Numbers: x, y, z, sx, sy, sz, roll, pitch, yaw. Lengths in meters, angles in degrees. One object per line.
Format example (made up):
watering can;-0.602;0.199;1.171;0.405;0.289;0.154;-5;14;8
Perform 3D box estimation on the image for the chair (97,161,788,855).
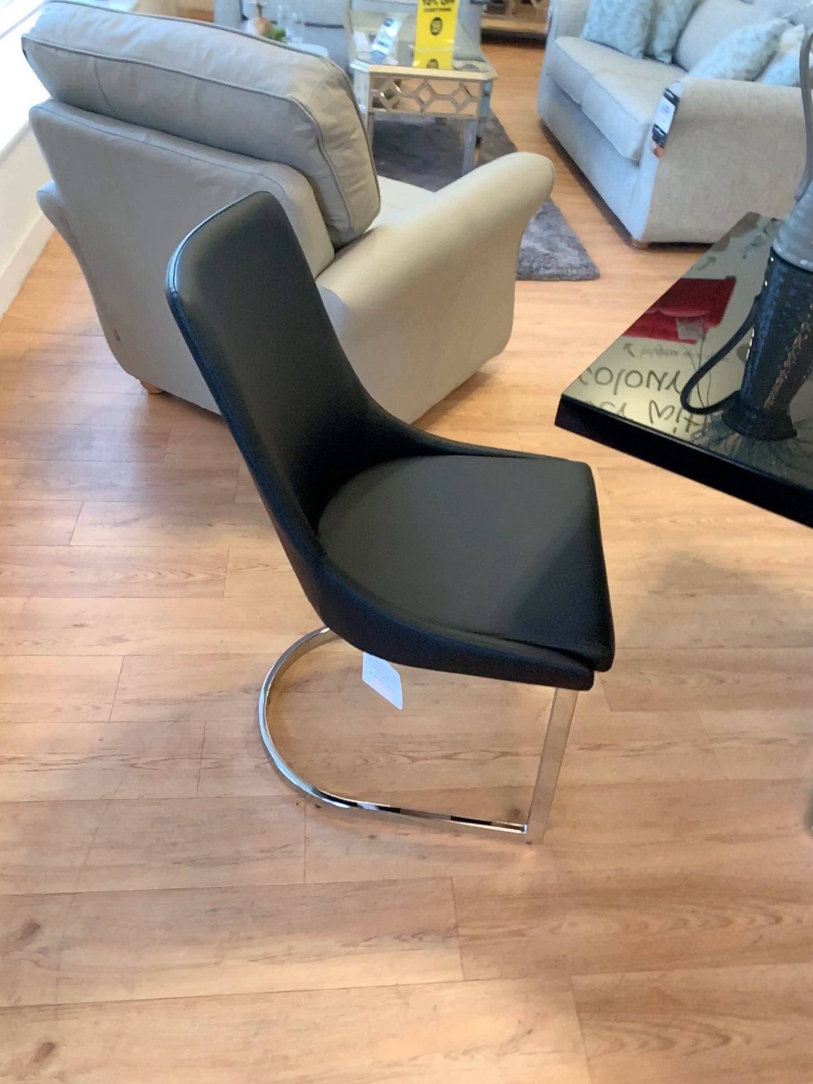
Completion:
chair;0.020;-0.024;1.207;0.629;0.812;0.510;5;40;0
